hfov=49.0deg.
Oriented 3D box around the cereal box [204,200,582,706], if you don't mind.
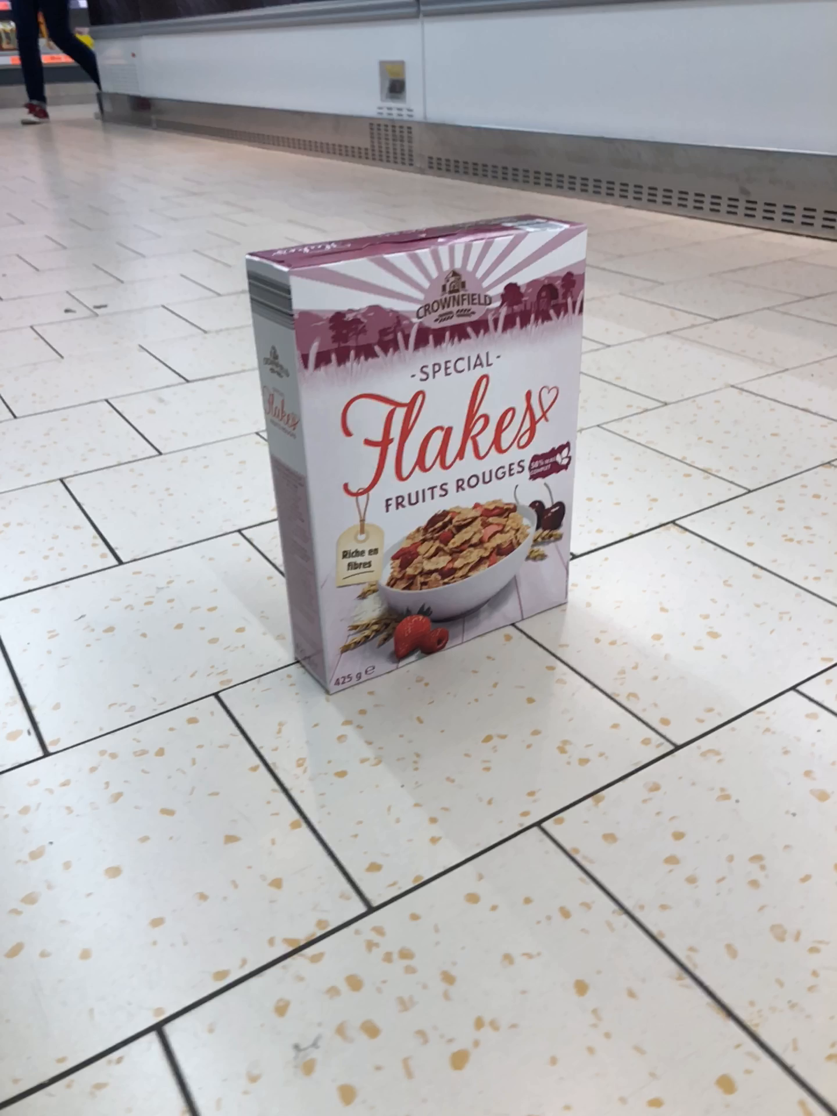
[{"bbox_3d":[-0.004,-0.065,0.556,0.201,0.259,0.060,-18,32,-26],"label":"cereal box"}]
